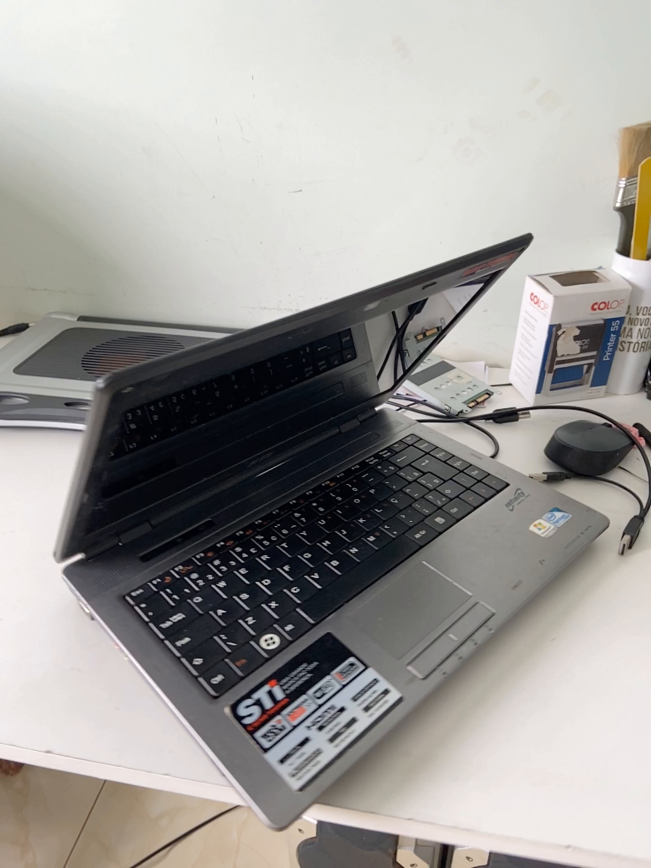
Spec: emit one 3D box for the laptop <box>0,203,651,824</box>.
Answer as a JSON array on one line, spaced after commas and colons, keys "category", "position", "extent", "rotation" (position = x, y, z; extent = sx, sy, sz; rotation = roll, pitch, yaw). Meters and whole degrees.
[{"category": "laptop", "position": [0.016, -0.003, 0.452], "extent": [0.343, 0.200, 0.242], "rotation": [-26, 41, -36]}]
